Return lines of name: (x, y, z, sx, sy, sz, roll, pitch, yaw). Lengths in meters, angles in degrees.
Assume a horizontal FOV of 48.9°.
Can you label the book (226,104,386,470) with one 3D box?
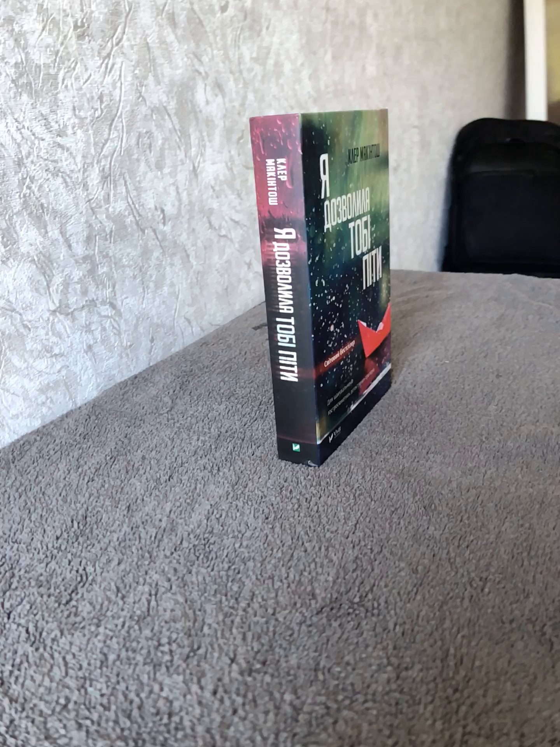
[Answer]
book: (0.028, -0.064, 0.401, 0.044, 0.201, 0.140, 6, 24, 24)
